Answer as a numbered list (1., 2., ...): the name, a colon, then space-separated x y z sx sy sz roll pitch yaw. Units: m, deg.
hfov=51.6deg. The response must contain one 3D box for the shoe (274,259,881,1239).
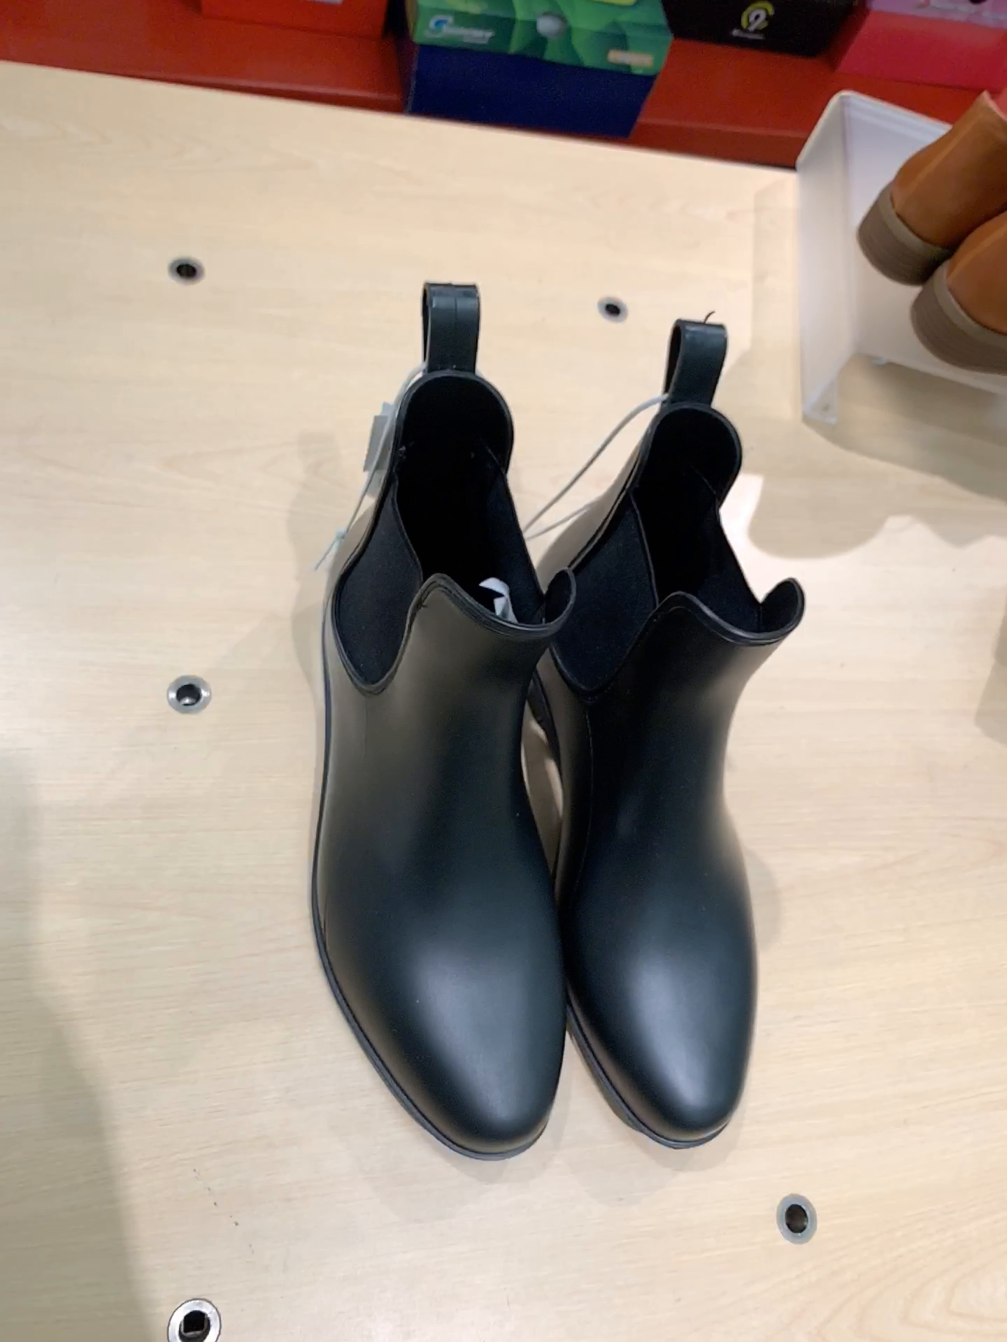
1. shoe: -0.008 0.032 0.393 0.113 0.202 0.286 -5 68 -17

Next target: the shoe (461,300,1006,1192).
1. shoe: 0.077 0.036 0.417 0.100 0.200 0.286 -5 68 -17
